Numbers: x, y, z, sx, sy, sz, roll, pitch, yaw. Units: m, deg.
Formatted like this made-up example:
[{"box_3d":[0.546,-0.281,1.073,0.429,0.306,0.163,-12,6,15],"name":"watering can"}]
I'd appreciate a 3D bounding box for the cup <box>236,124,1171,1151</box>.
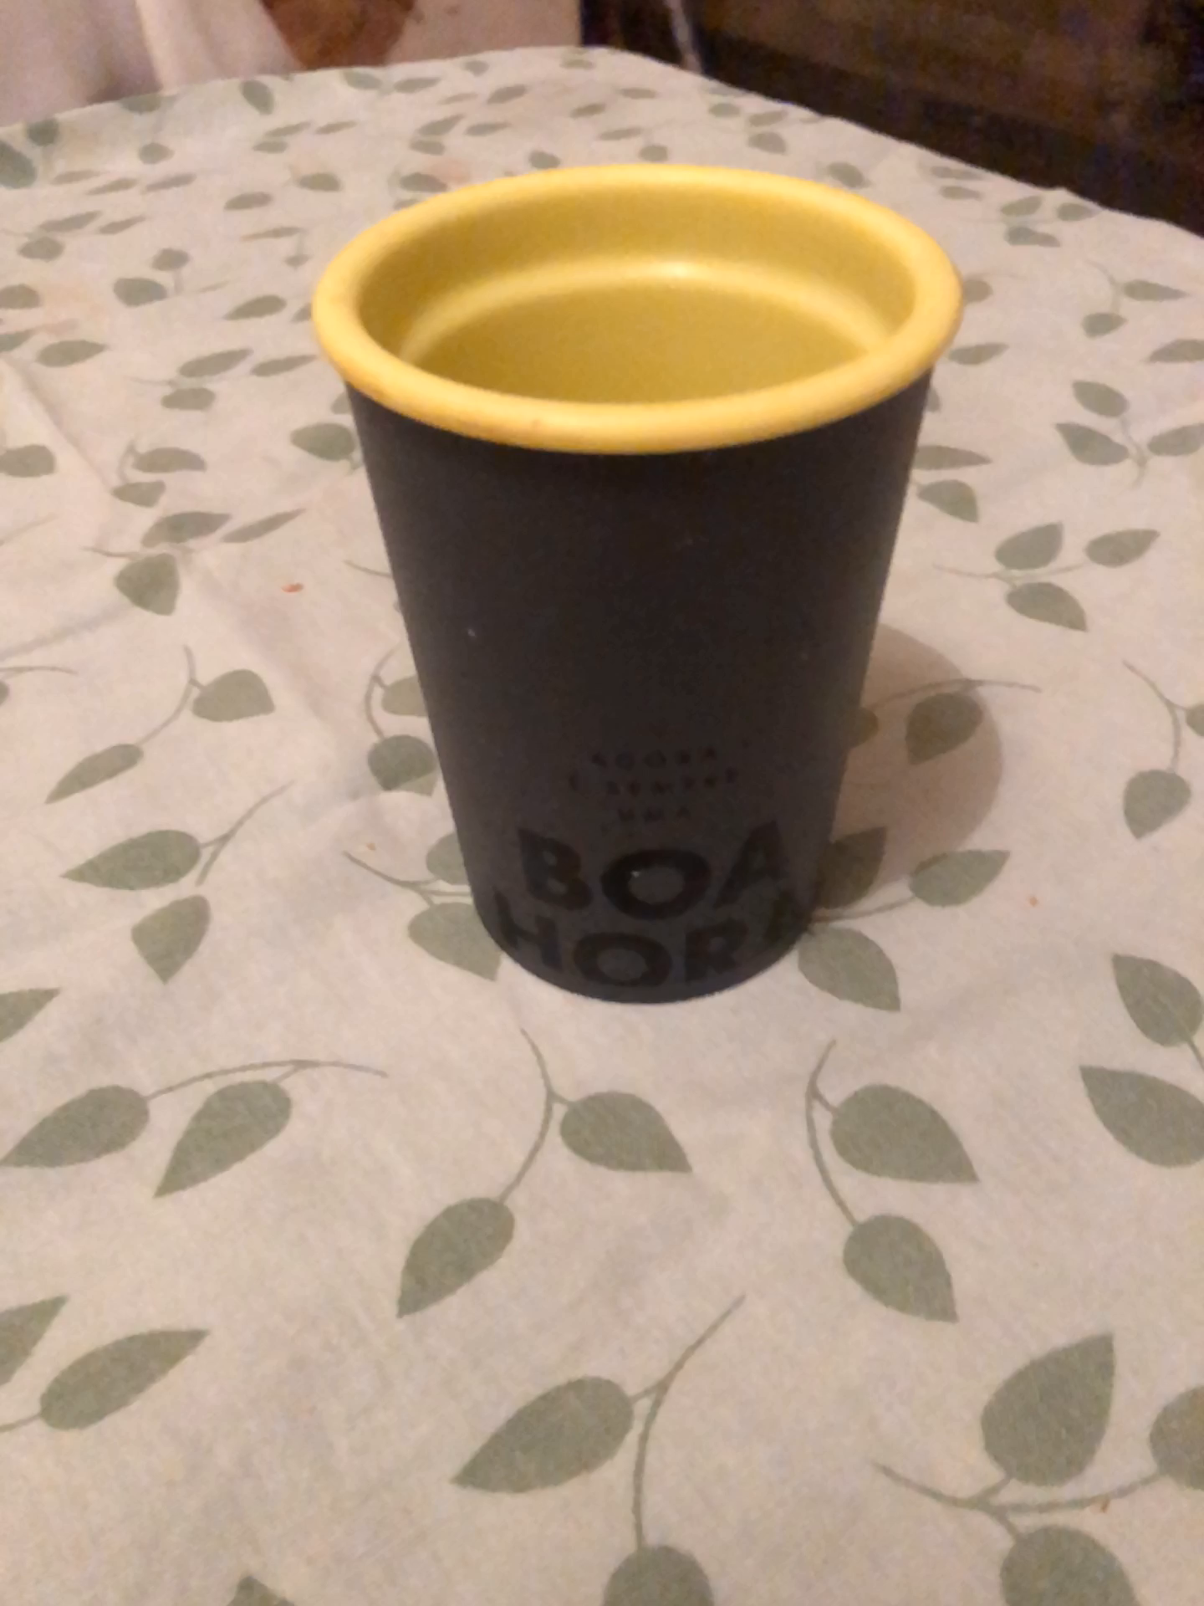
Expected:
[{"box_3d":[0.007,-0.028,0.208,0.090,0.109,0.091,-1,43,1],"name":"cup"}]
